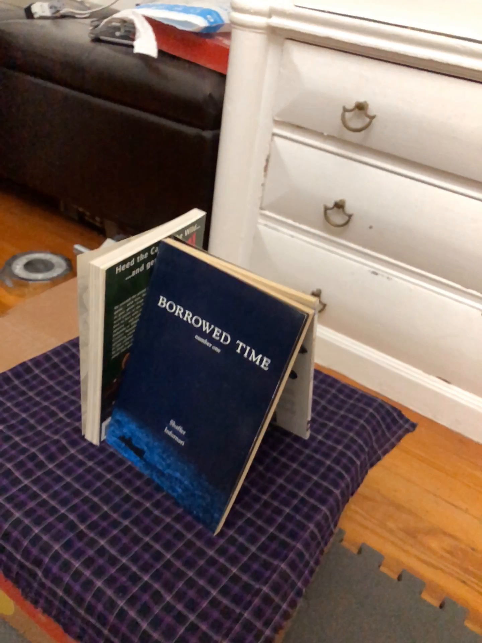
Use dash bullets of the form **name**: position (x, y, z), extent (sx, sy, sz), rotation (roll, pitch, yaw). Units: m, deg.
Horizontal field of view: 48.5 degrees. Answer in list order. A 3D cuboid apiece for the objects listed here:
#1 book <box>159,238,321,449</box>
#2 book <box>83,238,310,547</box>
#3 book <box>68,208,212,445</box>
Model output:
- **book**: position (0.002, 0.028, 0.477), extent (0.140, 0.199, 0.010), rotation (25, 55, 24)
- **book**: position (-0.047, 0.055, 0.430), extent (0.150, 0.199, 0.010), rotation (28, 17, 25)
- **book**: position (-0.092, 0.004, 0.484), extent (0.020, 0.189, 0.141), rotation (30, 38, 18)
